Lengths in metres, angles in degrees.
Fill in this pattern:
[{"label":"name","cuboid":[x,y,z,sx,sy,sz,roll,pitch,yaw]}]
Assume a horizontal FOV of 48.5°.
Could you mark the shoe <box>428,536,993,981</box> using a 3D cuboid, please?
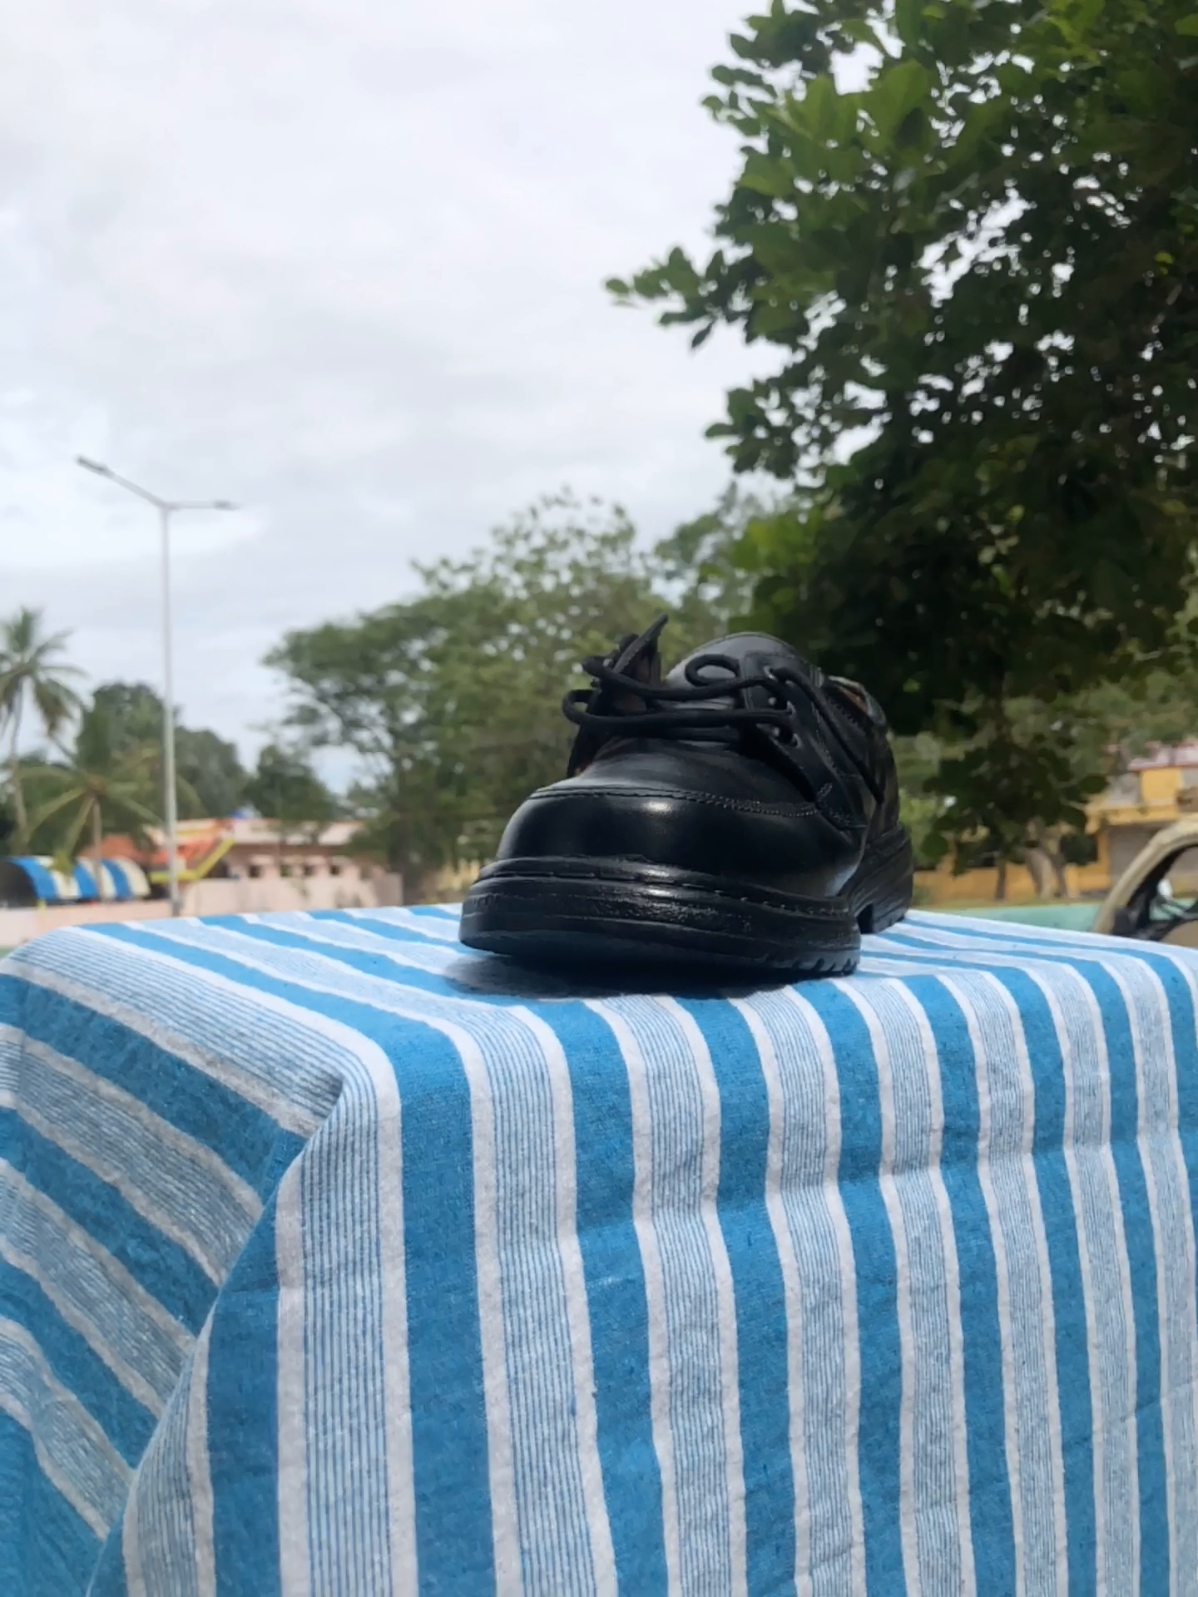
[{"label":"shoe","cuboid":[0.063,-0.004,0.453,0.110,0.100,0.290,0,-2,22]}]
